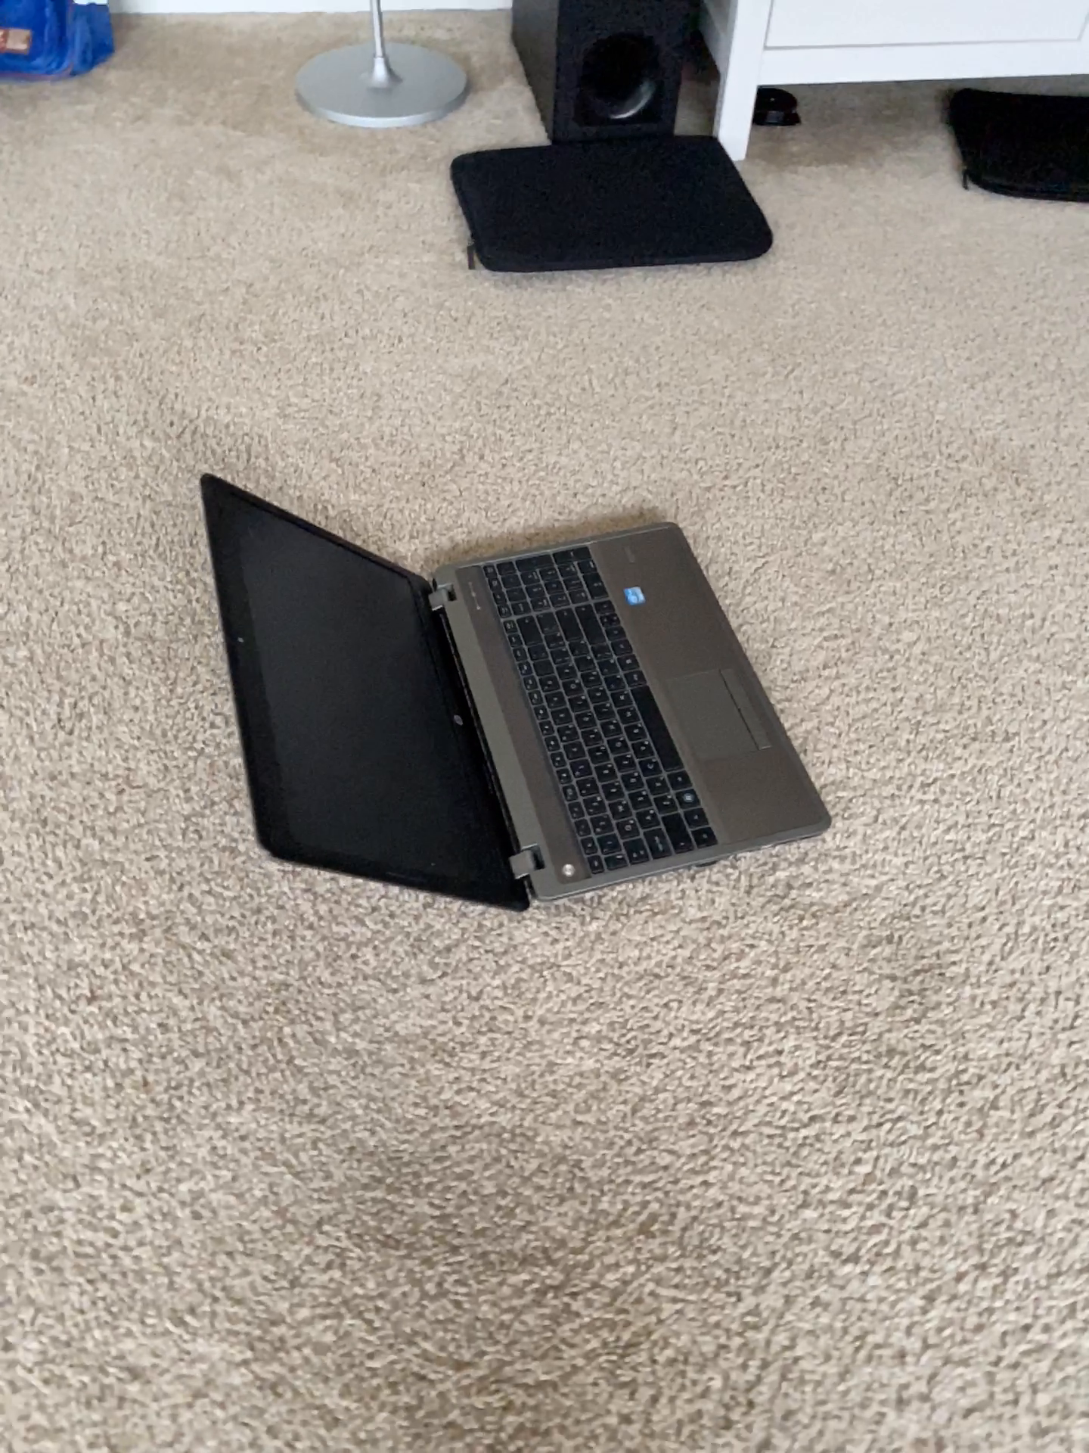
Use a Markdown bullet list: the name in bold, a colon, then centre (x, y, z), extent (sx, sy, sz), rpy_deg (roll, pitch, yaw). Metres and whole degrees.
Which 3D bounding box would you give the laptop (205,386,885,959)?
- **laptop**: centre (-0.023, -0.066, 0.910), extent (0.435, 0.162, 0.376), rpy_deg (-12, 54, -10)
